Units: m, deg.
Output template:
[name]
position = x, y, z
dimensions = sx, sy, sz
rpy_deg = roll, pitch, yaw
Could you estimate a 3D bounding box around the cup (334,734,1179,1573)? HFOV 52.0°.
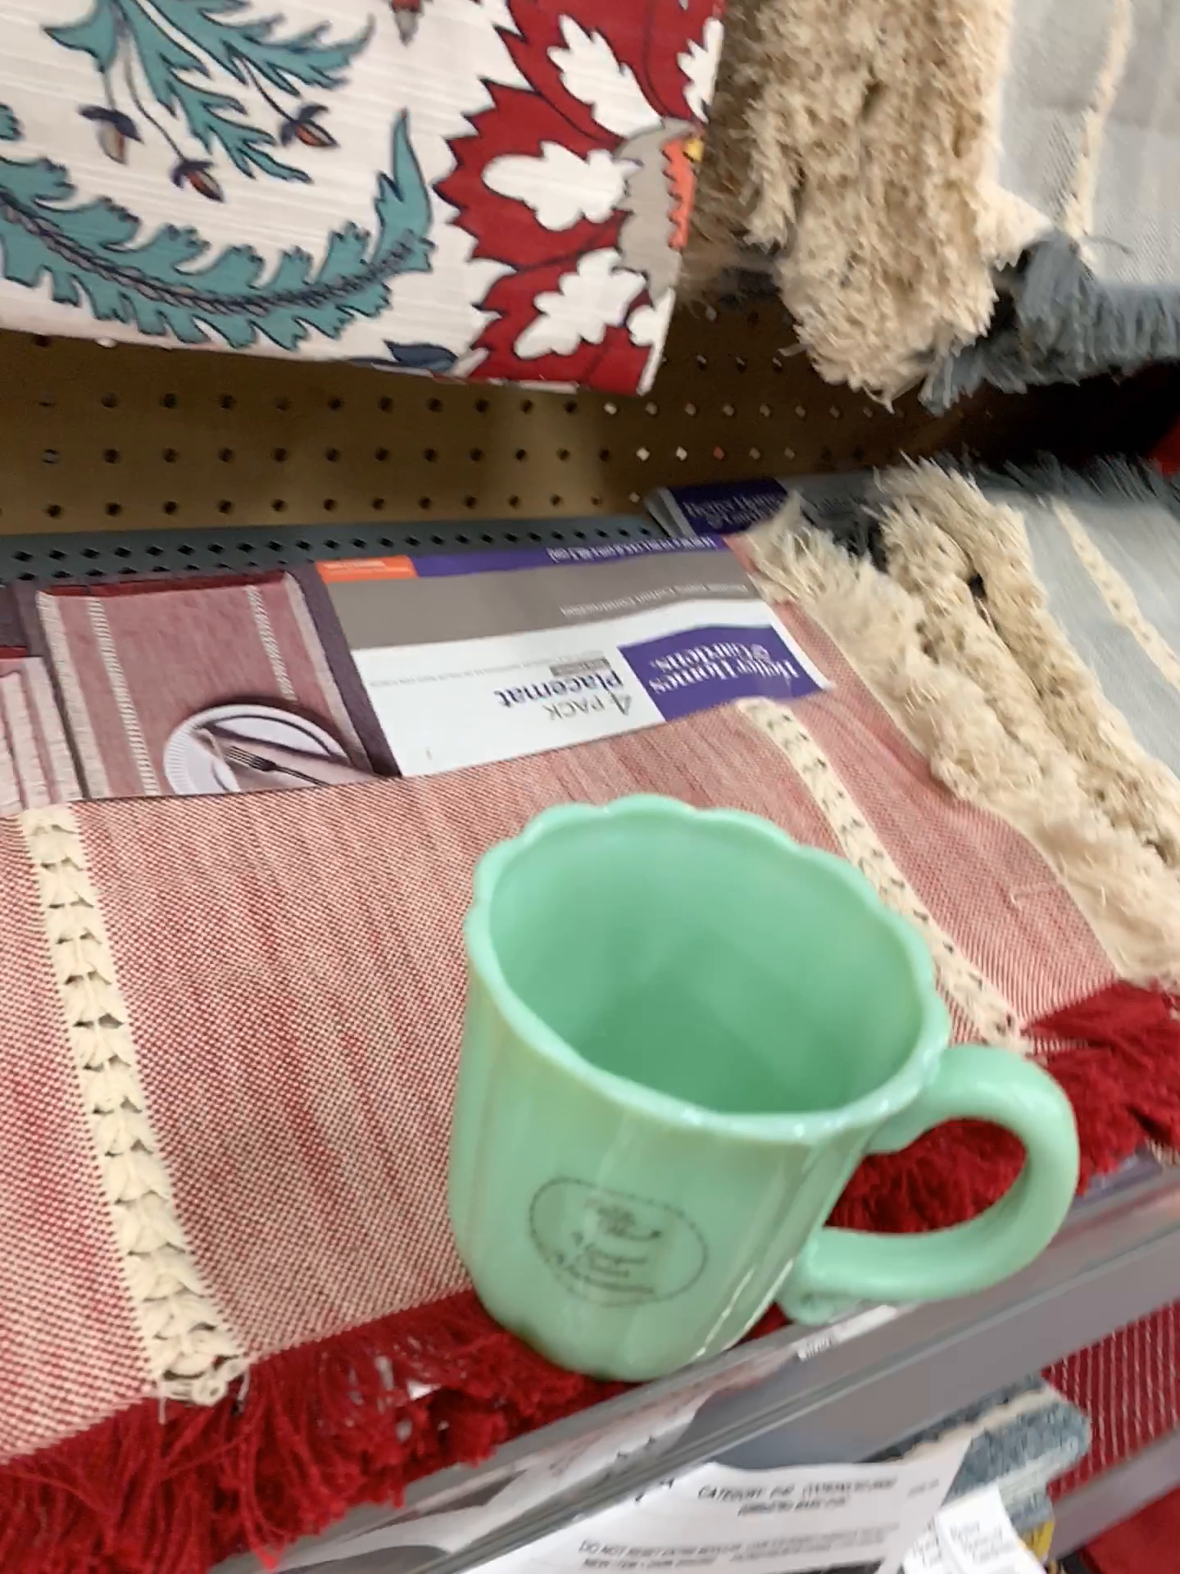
[cup]
position = 0.032, 0.066, 0.236
dimensions = 0.130, 0.090, 0.090
rpy_deg = 16, 33, 8
